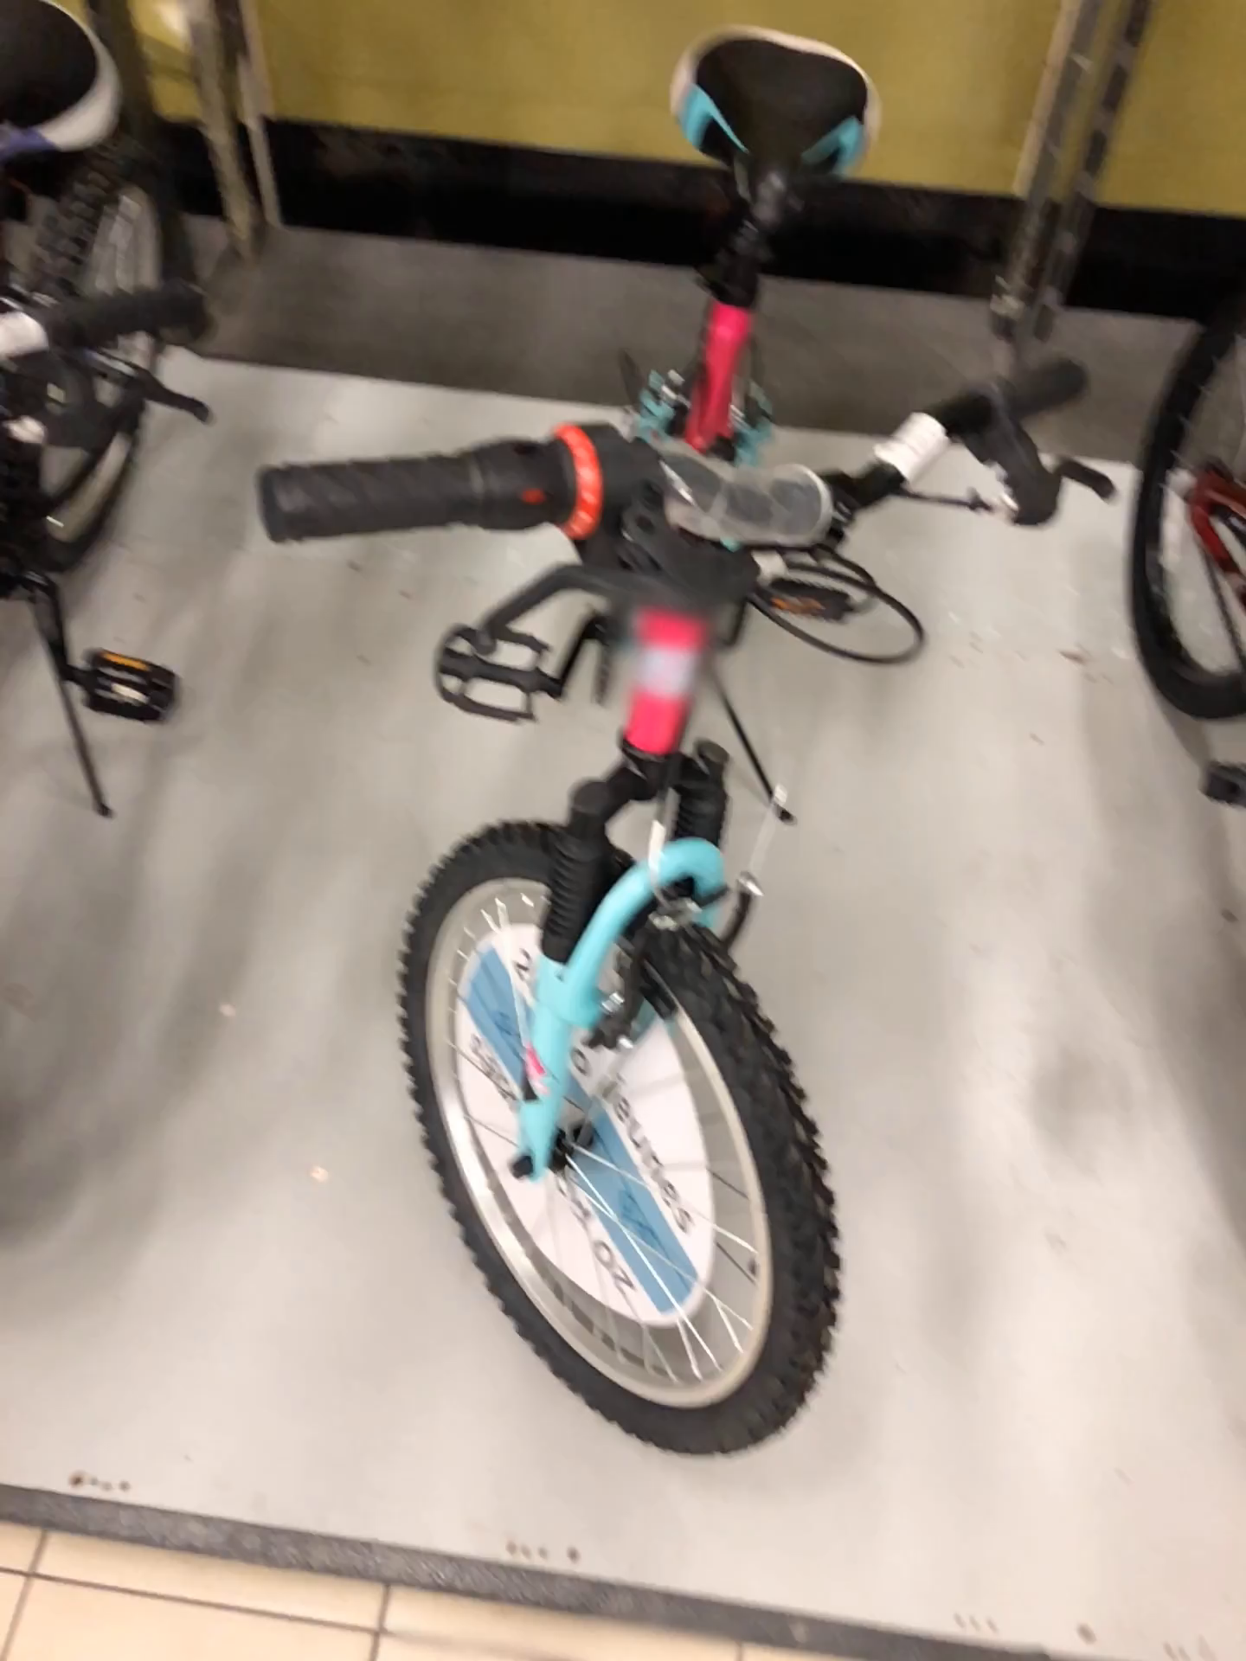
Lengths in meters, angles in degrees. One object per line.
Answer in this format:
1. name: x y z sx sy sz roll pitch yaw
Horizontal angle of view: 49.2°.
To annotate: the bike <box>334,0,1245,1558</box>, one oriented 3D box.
1. bike: 0.163 -0.180 1.129 0.562 0.765 1.219 1 57 -1
